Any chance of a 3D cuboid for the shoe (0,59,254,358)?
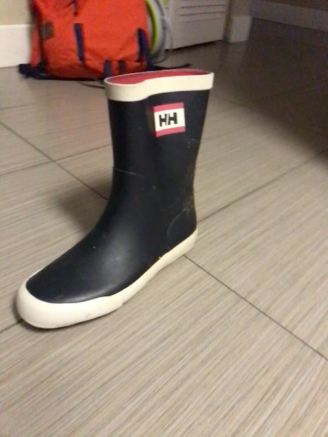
[{"bbox_3d":[-0.038,-0.035,0.386,0.102,0.216,0.280,28,41,34],"label":"shoe"}]
